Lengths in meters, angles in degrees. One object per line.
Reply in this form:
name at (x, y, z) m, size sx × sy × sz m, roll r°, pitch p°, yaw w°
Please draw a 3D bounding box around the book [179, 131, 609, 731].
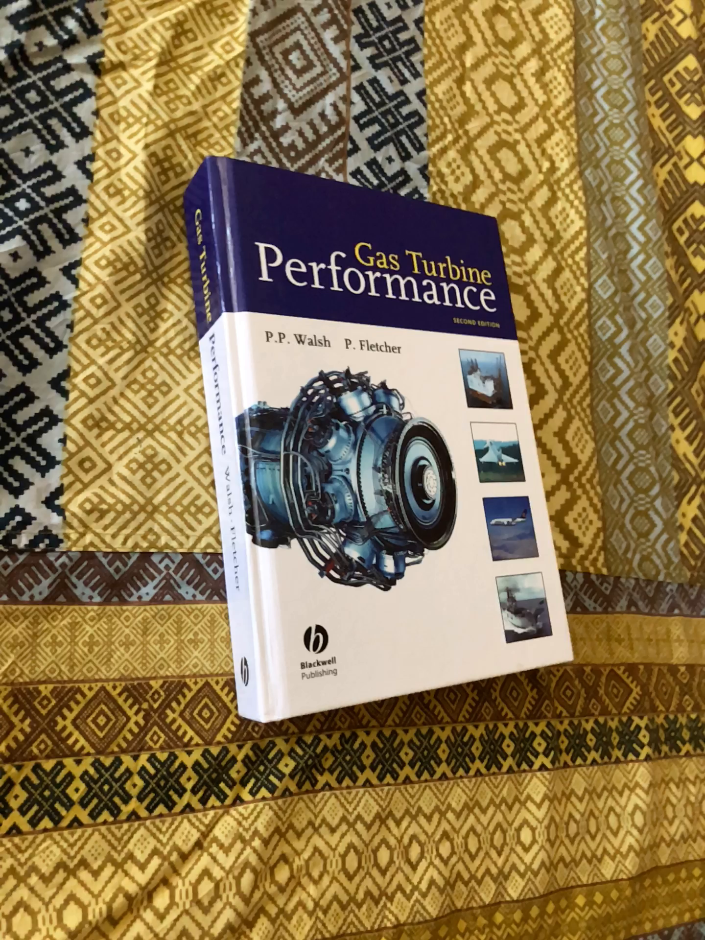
book at (0.023, -0.021, 0.419) m, size 0.193 × 0.060 × 0.272 m, roll -1°, pitch 77°, yaw -34°
